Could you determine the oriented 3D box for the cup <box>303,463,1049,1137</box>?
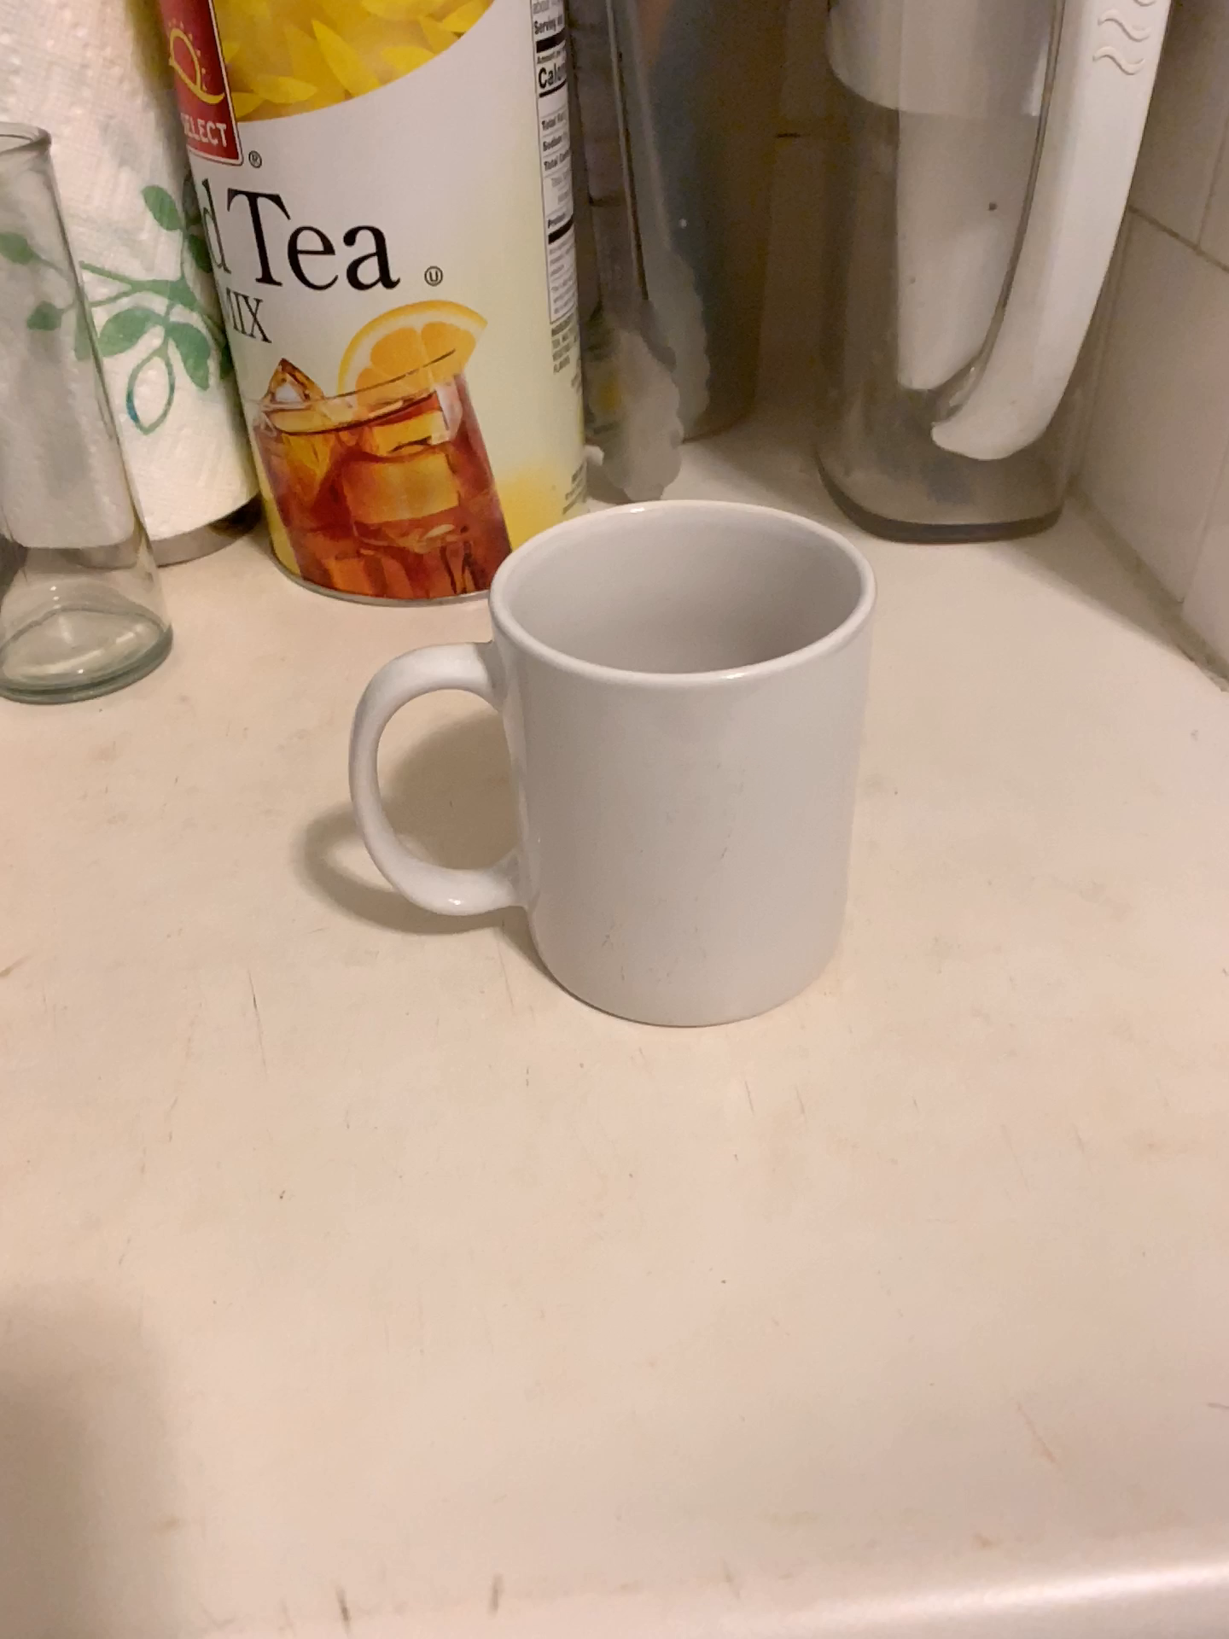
[{"bbox_3d":[0.007,-0.008,0.303,0.140,0.109,0.091,-9,38,-9],"label":"cup"}]
